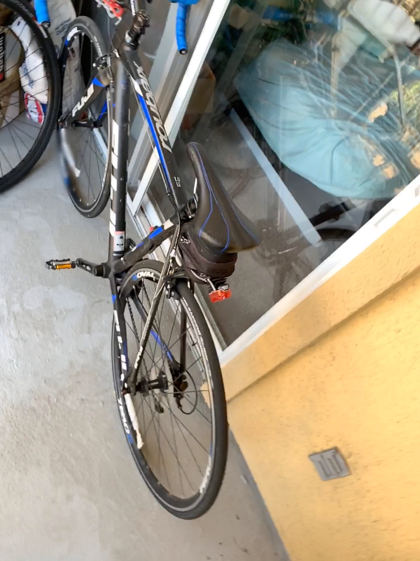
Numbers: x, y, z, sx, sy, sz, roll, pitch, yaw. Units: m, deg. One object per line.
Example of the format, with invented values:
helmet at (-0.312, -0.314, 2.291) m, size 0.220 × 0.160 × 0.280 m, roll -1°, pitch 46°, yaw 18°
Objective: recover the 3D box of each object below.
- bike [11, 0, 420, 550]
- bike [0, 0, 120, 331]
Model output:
bike at (-0.199, -0.197, 1.165) m, size 0.363 × 0.934 × 1.504 m, roll -8°, pitch 67°, yaw -31°
bike at (-1.127, -0.658, 0.979) m, size 1.587 × 0.973 × 0.622 m, roll -23°, pitch 72°, yaw -38°
